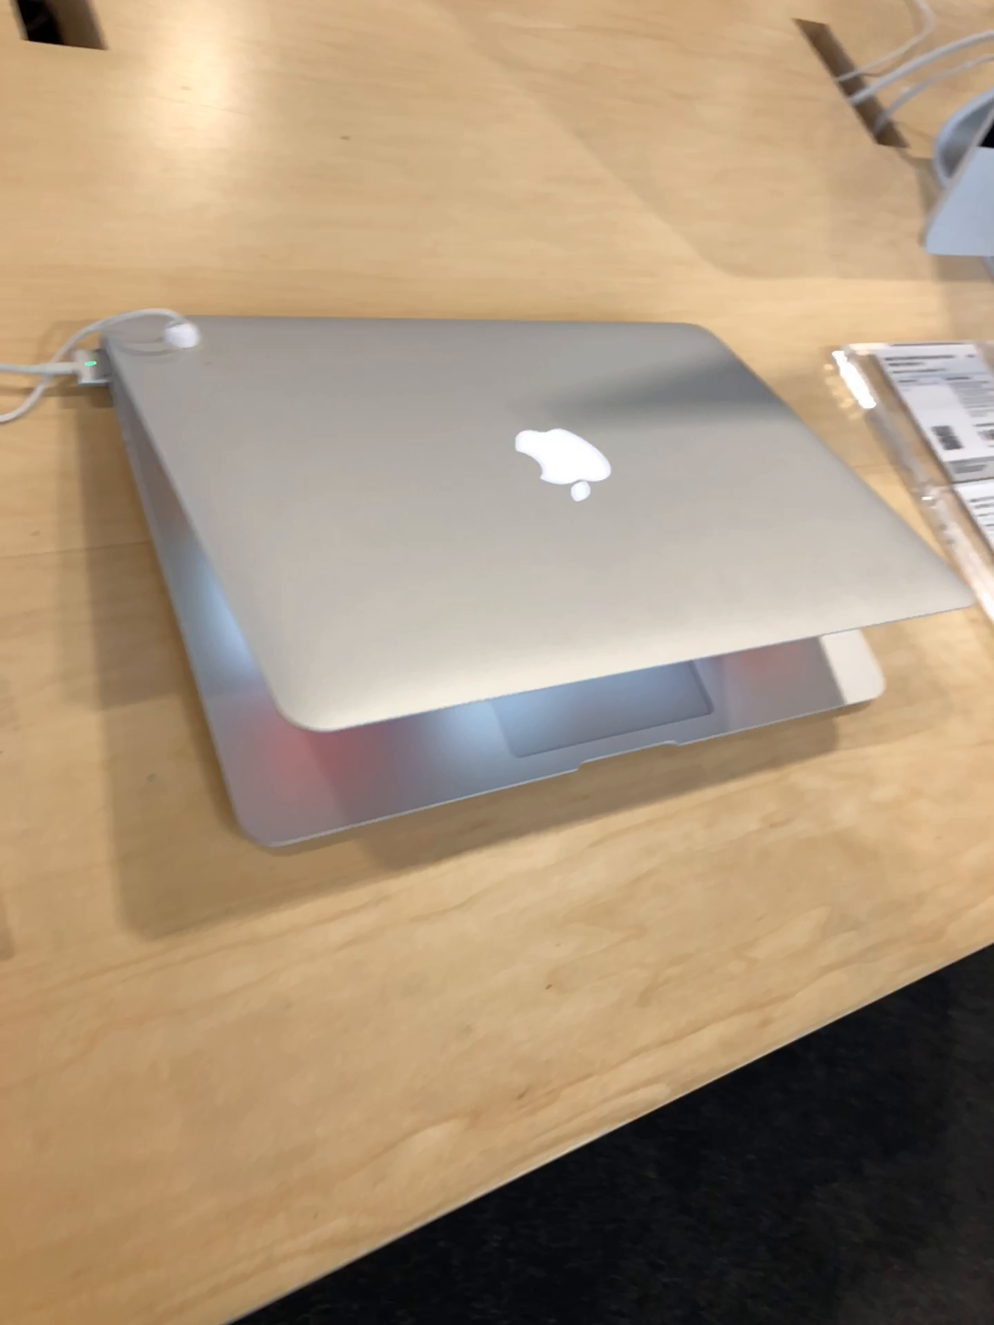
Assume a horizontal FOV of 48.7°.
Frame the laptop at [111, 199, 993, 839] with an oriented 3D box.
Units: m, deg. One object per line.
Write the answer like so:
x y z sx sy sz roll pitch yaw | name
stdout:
0.035 -0.074 0.447 0.316 0.067 0.215 -10 66 -30 | laptop
